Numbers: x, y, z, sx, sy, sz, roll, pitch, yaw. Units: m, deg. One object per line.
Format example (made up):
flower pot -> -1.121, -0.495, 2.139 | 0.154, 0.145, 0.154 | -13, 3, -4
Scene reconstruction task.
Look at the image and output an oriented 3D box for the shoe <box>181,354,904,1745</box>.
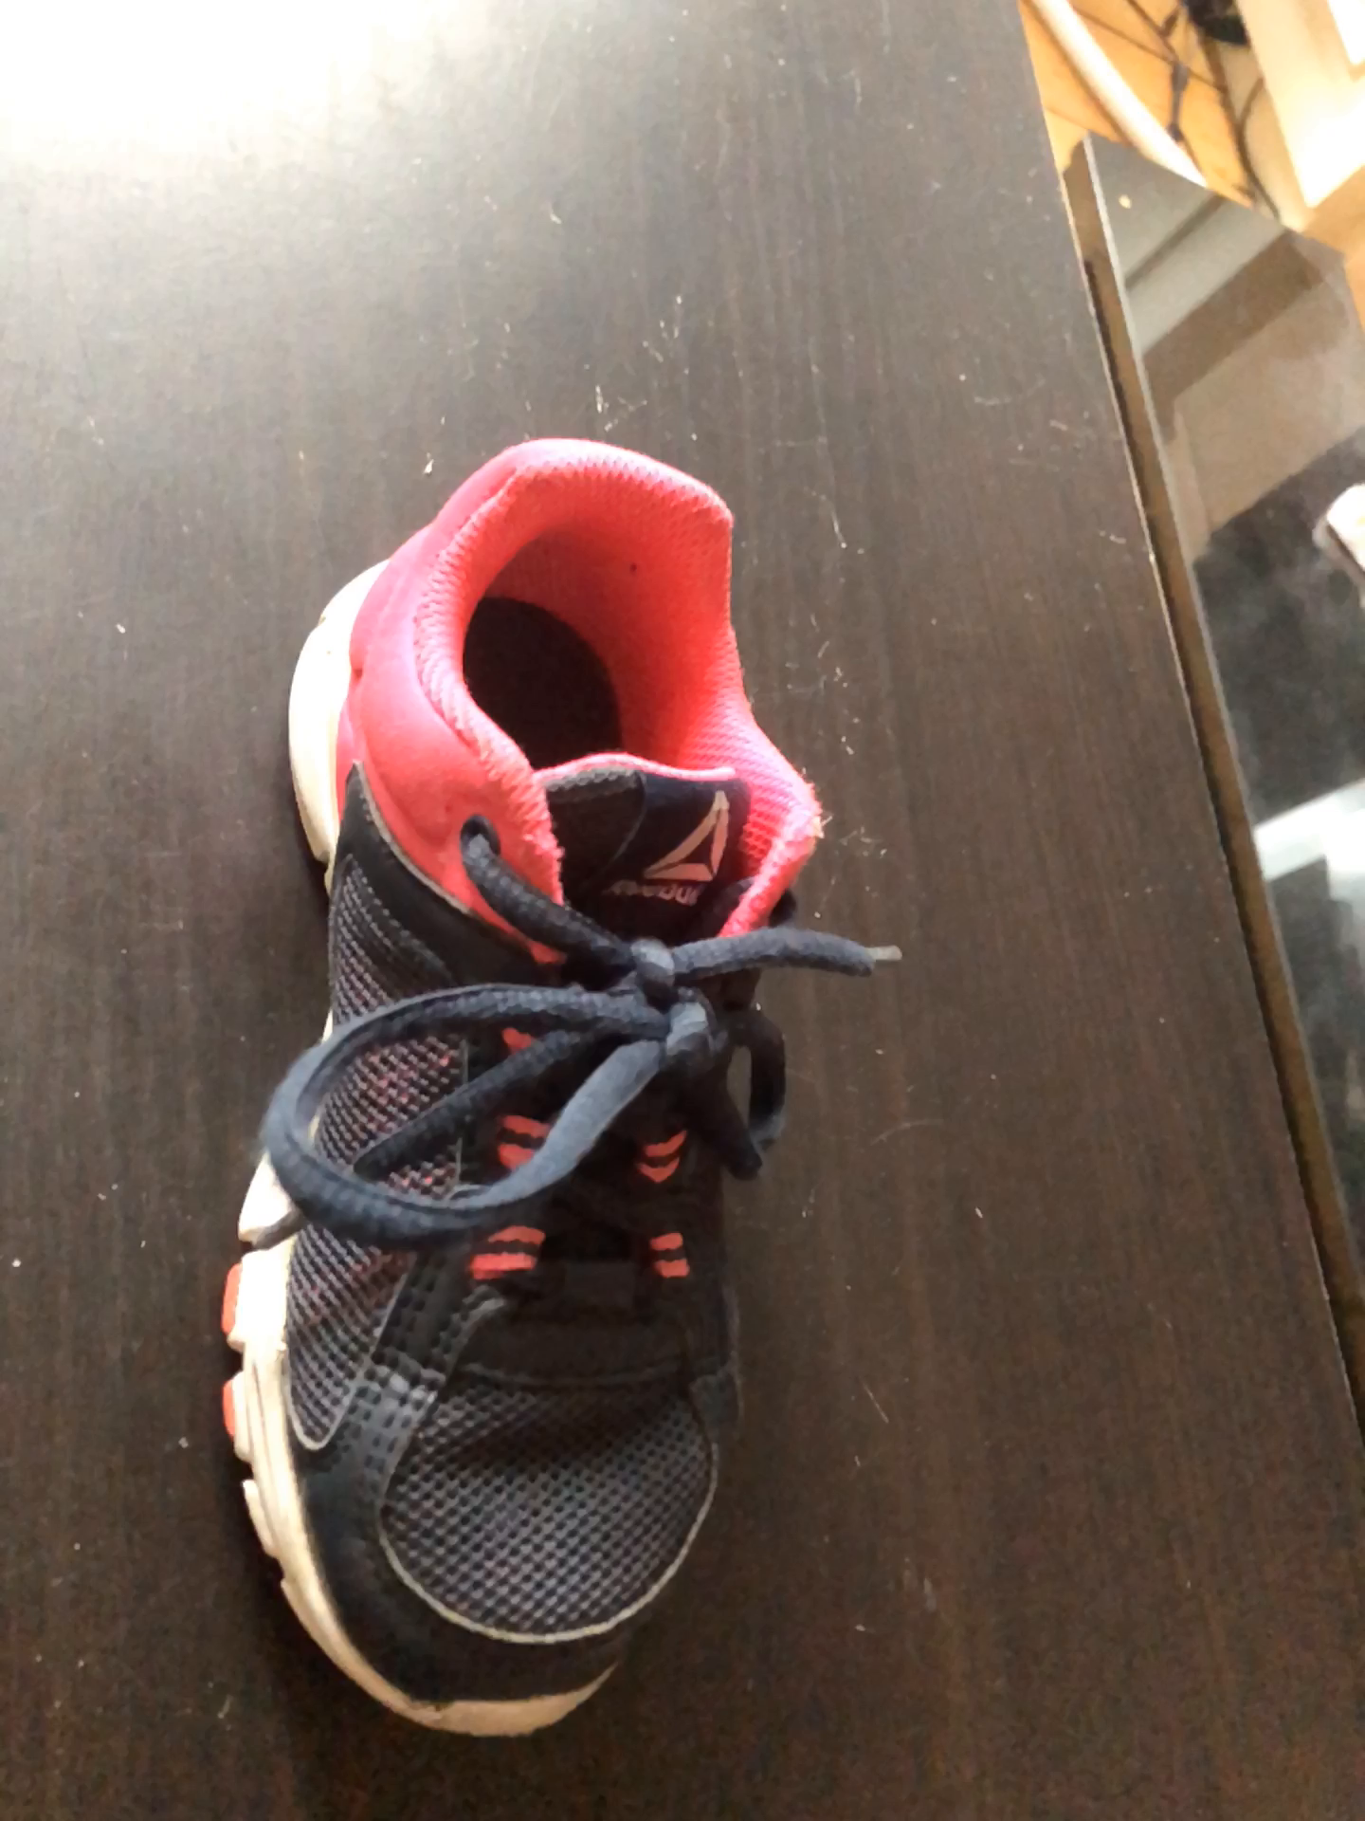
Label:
shoe -> -0.028, 0.020, 0.249 | 0.080, 0.070, 0.193 | 9, 66, -29
